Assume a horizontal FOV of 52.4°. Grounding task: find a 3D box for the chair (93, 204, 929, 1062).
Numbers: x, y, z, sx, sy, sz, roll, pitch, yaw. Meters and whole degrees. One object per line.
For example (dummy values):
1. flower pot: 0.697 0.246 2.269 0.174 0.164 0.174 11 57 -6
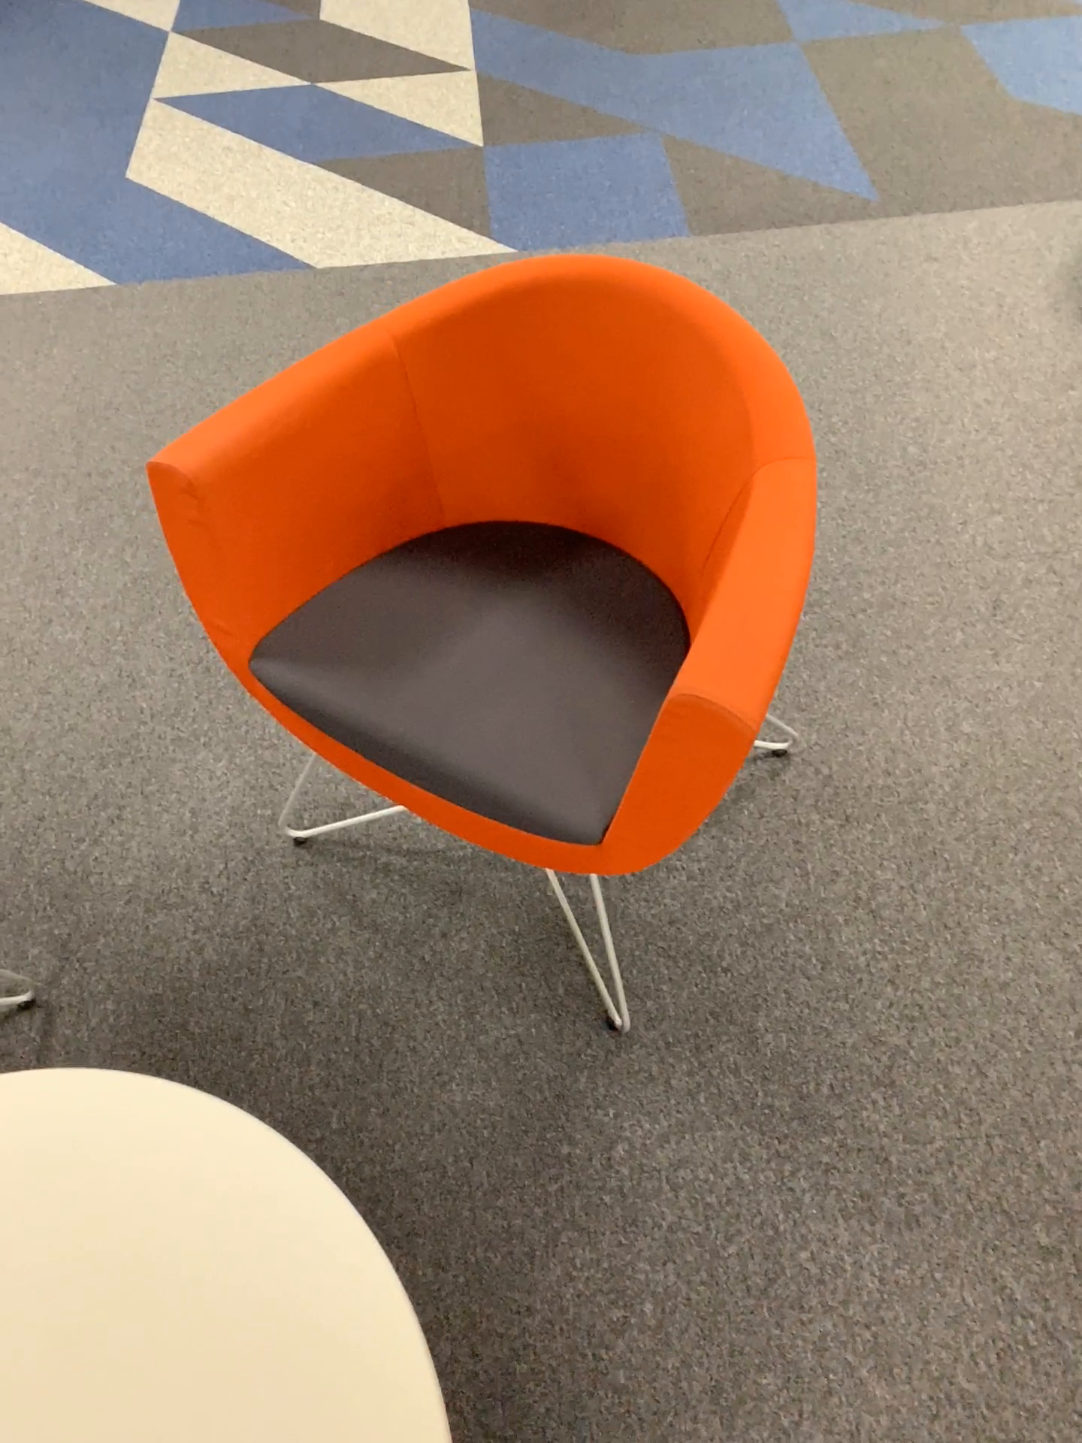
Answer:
1. chair: 0.001 -0.112 1.431 0.641 0.707 0.622 26 58 22
